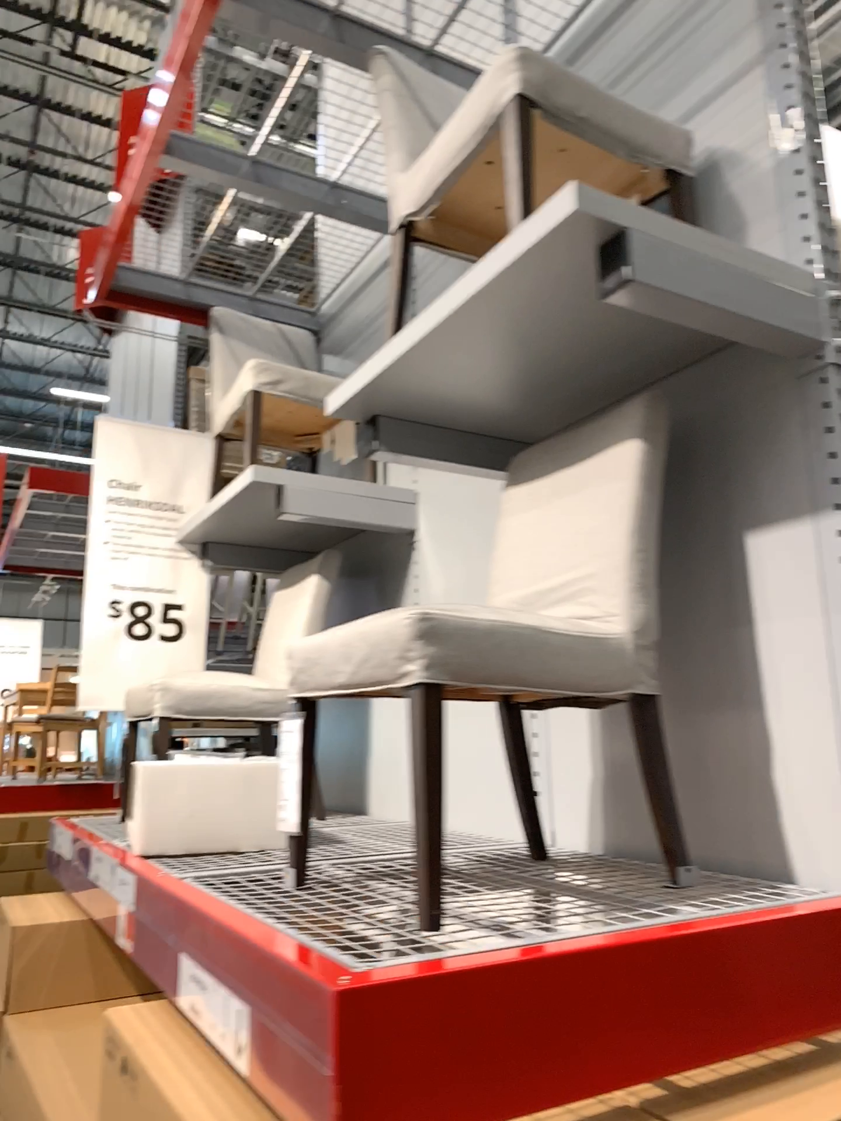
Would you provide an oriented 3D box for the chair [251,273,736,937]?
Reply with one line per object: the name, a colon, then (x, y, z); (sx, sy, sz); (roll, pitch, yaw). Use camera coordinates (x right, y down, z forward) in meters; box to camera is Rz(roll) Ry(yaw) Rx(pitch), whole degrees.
chair: (0.109, 0.108, 1.665); (0.669, 0.983, 0.559); (7, -15, -31)
